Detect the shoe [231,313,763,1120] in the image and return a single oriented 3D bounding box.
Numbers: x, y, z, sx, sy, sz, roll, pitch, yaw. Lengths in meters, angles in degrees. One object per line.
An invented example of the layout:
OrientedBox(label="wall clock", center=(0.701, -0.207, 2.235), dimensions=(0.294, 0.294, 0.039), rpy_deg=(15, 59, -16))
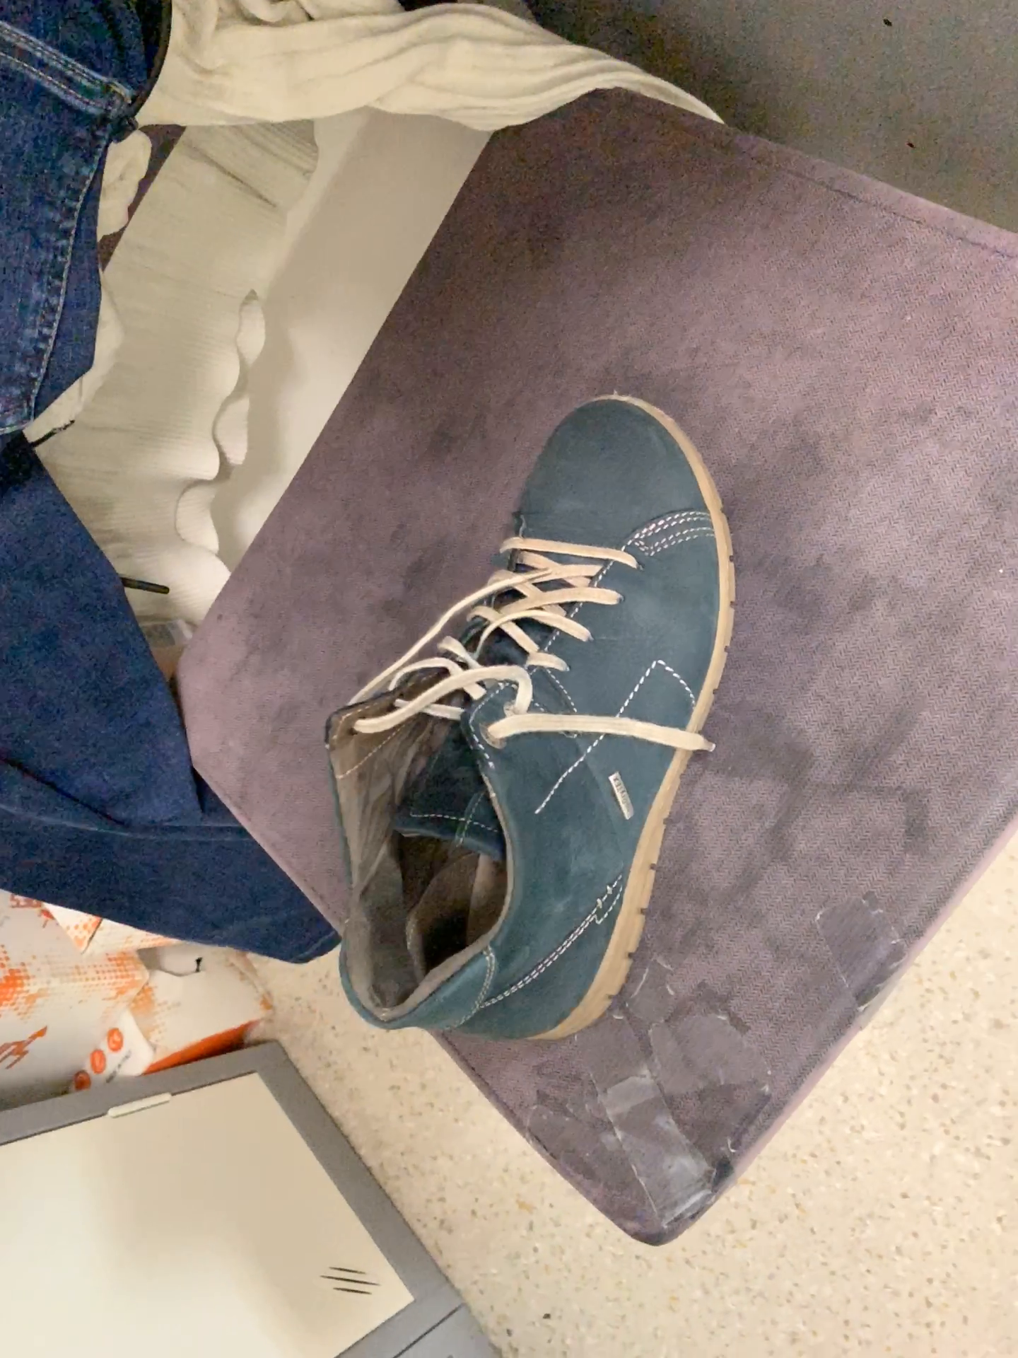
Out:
OrientedBox(label="shoe", center=(0.007, 0.011, 0.397), dimensions=(0.104, 0.143, 0.244), rpy_deg=(9, 86, 29))
